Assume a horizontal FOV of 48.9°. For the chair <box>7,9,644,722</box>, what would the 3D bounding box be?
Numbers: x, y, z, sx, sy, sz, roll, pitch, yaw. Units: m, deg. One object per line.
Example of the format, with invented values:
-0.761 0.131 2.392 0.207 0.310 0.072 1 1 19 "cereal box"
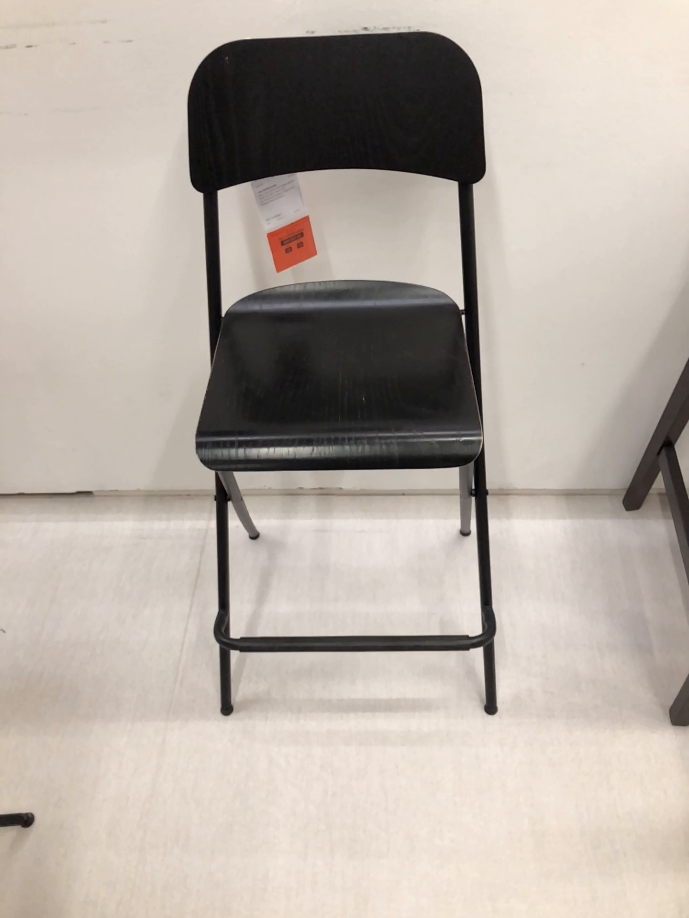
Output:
0.009 -0.048 1.066 0.490 0.884 0.473 -2 47 3 "chair"
